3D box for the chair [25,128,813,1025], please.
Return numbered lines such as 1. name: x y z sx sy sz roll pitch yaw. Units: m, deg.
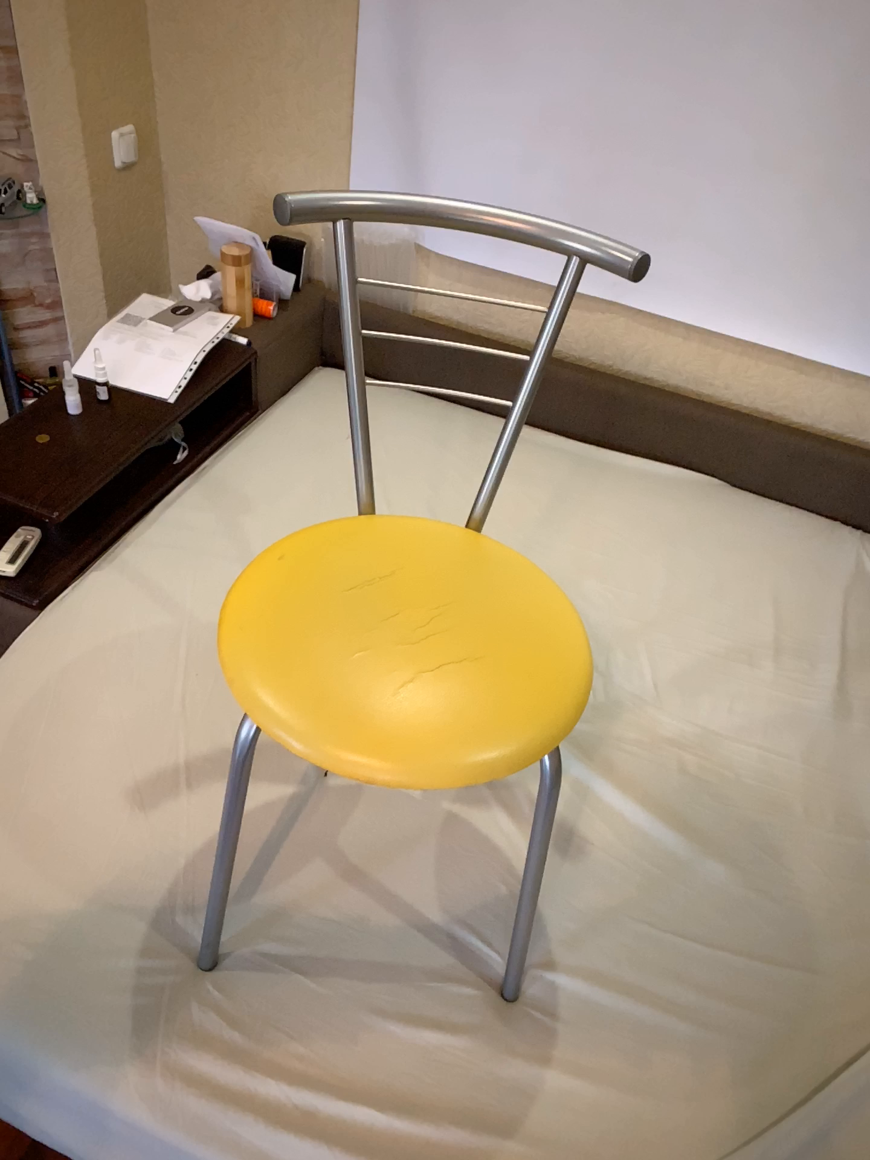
1. chair: -0.035 0.028 0.955 0.460 0.763 0.505 7 41 -2
